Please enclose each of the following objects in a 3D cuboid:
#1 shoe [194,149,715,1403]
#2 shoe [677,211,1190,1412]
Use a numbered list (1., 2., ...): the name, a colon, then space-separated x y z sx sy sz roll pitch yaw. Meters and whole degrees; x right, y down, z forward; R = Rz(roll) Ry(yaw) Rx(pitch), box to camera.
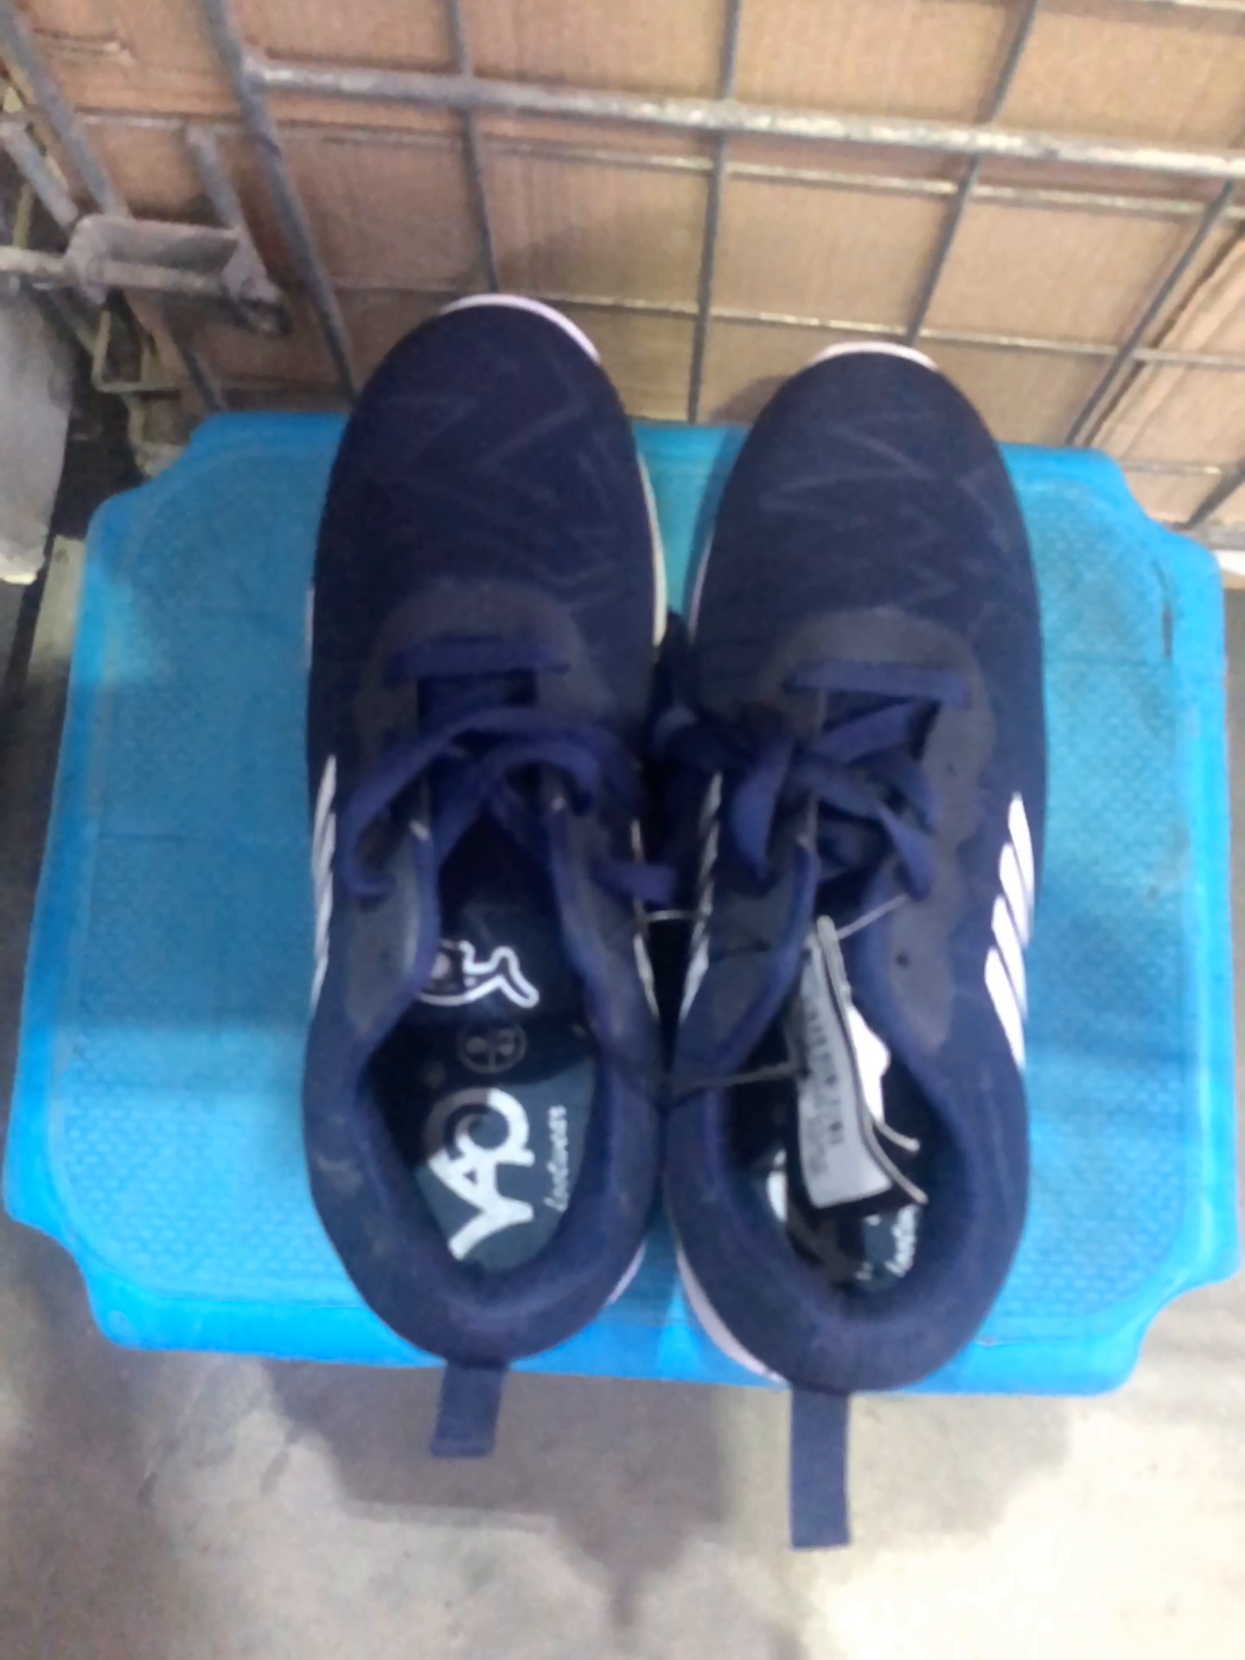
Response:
1. shoe: -0.033 -0.014 0.334 0.100 0.100 0.270 0 79 0
2. shoe: 0.068 -0.006 0.350 0.100 0.100 0.270 1 79 0
